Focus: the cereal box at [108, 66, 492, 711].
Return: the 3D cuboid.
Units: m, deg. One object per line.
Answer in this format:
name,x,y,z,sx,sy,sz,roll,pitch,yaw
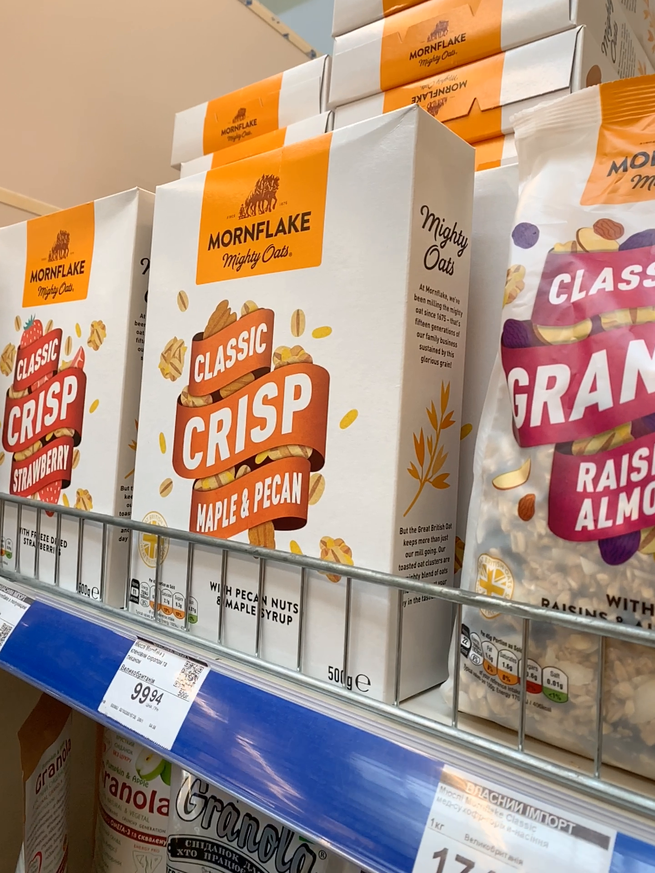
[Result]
cereal box,-0.024,-0.023,0.346,0.190,0.250,0.060,2,-2,40
